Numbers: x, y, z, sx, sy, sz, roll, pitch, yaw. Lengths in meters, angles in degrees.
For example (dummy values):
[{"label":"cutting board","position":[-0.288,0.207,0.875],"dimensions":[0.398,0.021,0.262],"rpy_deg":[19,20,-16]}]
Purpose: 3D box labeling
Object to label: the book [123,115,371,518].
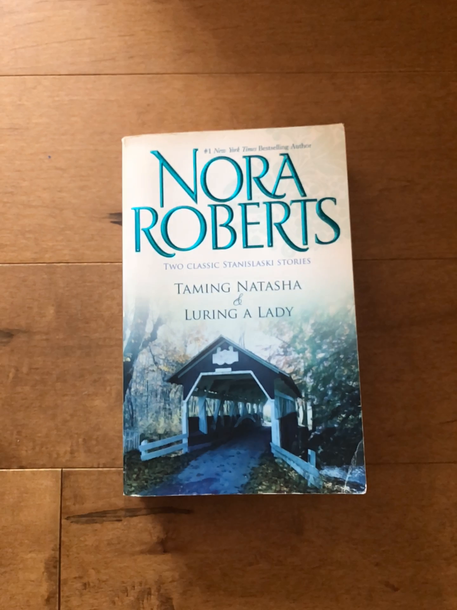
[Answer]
[{"label":"book","position":[0.007,0.004,0.302],"dimensions":[0.130,0.040,0.220],"rpy_deg":[-2,83,1]}]
